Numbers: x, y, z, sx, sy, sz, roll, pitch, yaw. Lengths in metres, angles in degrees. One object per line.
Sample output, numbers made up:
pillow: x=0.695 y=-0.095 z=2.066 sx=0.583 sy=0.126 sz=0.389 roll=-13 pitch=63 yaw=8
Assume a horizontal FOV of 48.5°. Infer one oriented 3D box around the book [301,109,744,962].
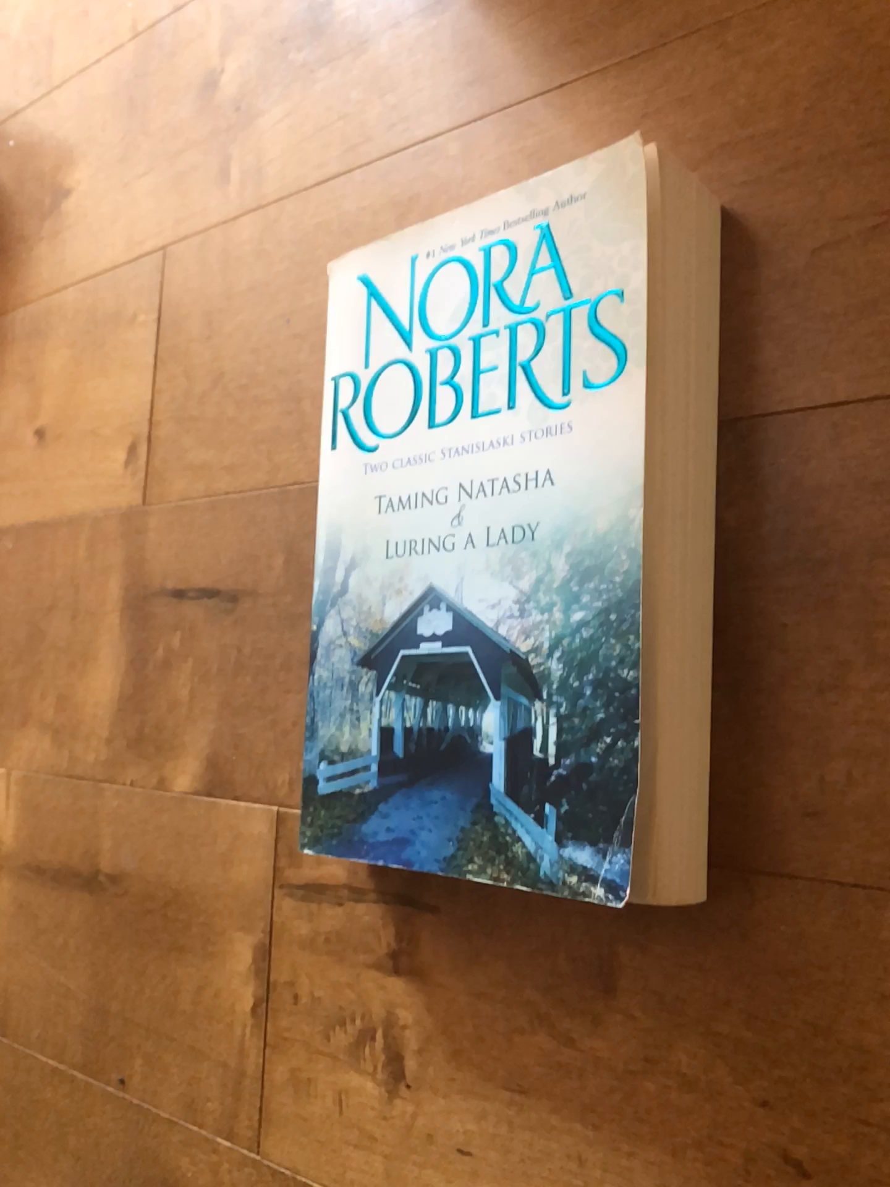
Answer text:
book: x=0.021 y=-0.015 z=0.306 sx=0.131 sy=0.040 sz=0.220 roll=-4 pitch=80 yaw=38
